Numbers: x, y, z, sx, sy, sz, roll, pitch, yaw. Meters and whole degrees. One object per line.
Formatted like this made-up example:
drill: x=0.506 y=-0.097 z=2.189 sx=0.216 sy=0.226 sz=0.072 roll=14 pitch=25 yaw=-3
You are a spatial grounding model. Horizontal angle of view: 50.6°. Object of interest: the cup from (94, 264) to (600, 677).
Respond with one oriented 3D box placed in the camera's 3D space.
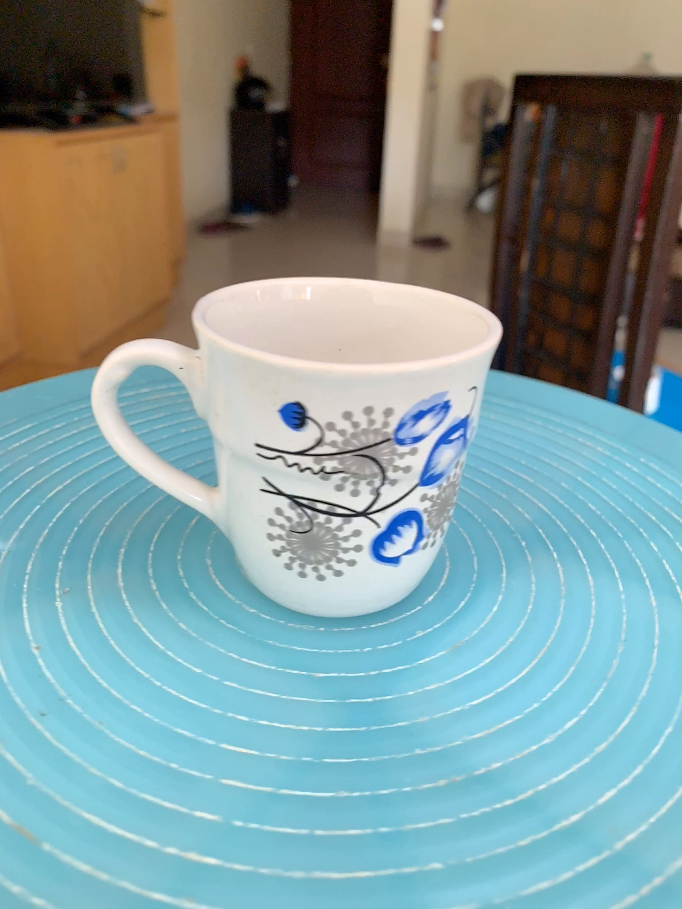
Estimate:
cup: x=-0.006 y=-0.005 z=0.165 sx=0.090 sy=0.060 sz=0.070 roll=-5 pitch=28 yaw=-17
